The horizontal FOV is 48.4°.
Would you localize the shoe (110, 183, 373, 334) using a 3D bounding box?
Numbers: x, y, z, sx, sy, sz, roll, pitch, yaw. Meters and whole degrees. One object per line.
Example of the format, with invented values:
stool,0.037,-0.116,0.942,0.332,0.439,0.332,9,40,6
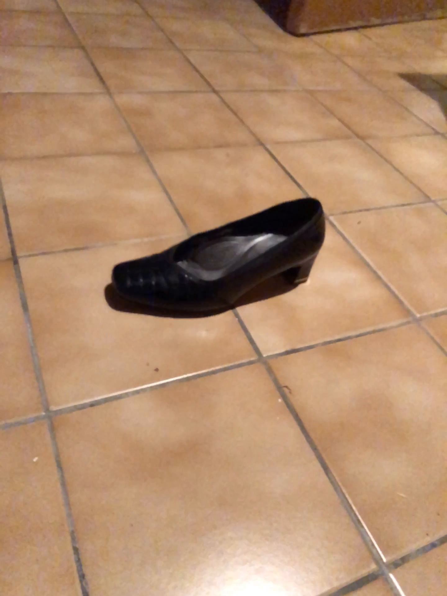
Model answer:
shoe,0.015,-0.050,0.532,0.251,0.089,0.100,-9,47,-22
